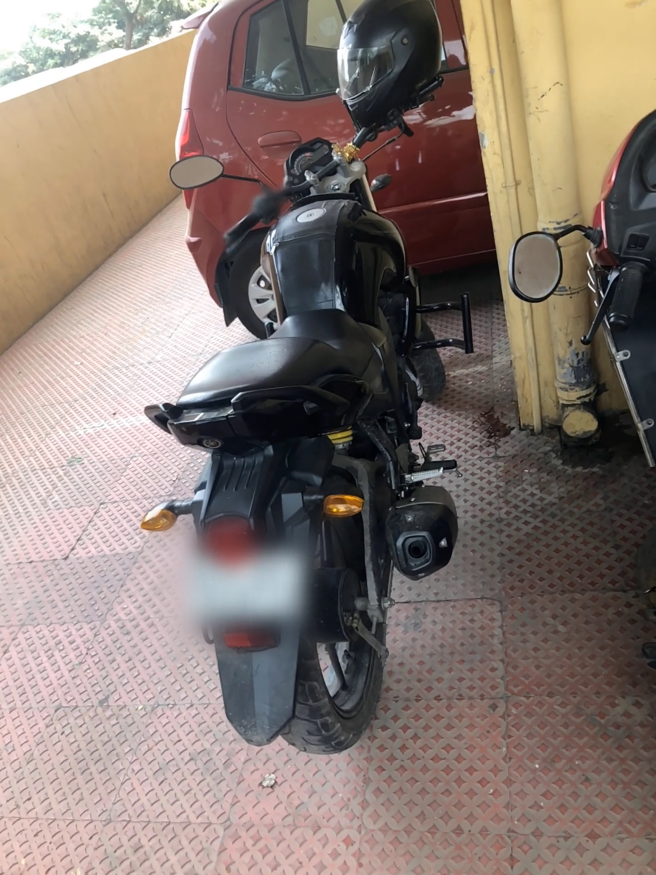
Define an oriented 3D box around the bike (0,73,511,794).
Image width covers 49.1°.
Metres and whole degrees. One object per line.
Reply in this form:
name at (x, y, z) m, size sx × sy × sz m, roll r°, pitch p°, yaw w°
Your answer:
bike at (-0.069, -0.212, 1.912) m, size 0.739 × 1.025 × 1.791 m, roll -9°, pitch 32°, yaw 13°
